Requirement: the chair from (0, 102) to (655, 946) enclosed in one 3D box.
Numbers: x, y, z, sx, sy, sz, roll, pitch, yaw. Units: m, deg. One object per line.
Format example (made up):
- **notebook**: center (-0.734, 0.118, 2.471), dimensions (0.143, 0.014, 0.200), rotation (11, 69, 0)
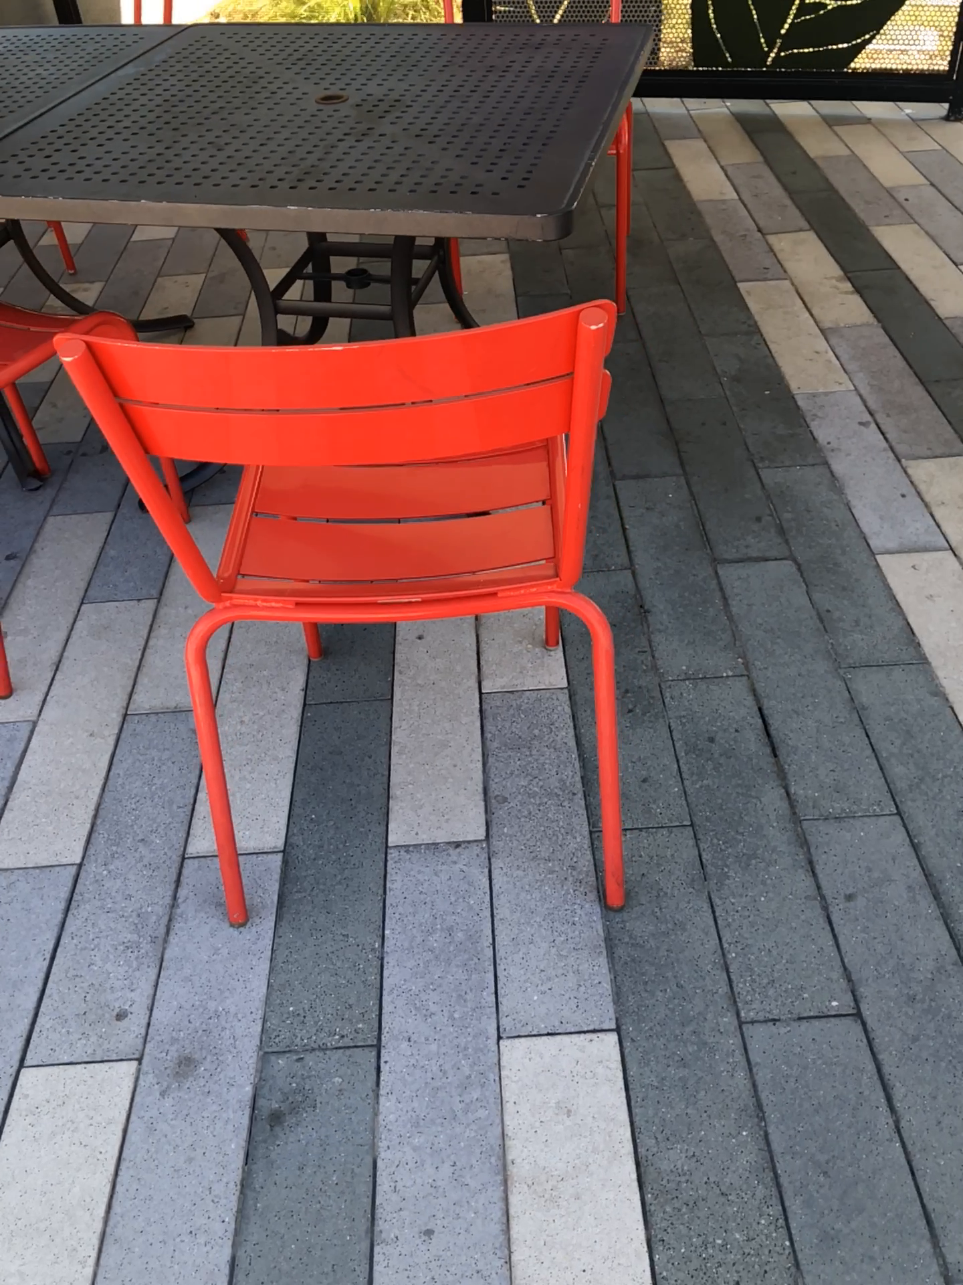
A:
- **chair**: center (-0.131, -0.133, 1.499), dimensions (0.610, 0.955, 0.633), rotation (-4, 41, 1)
